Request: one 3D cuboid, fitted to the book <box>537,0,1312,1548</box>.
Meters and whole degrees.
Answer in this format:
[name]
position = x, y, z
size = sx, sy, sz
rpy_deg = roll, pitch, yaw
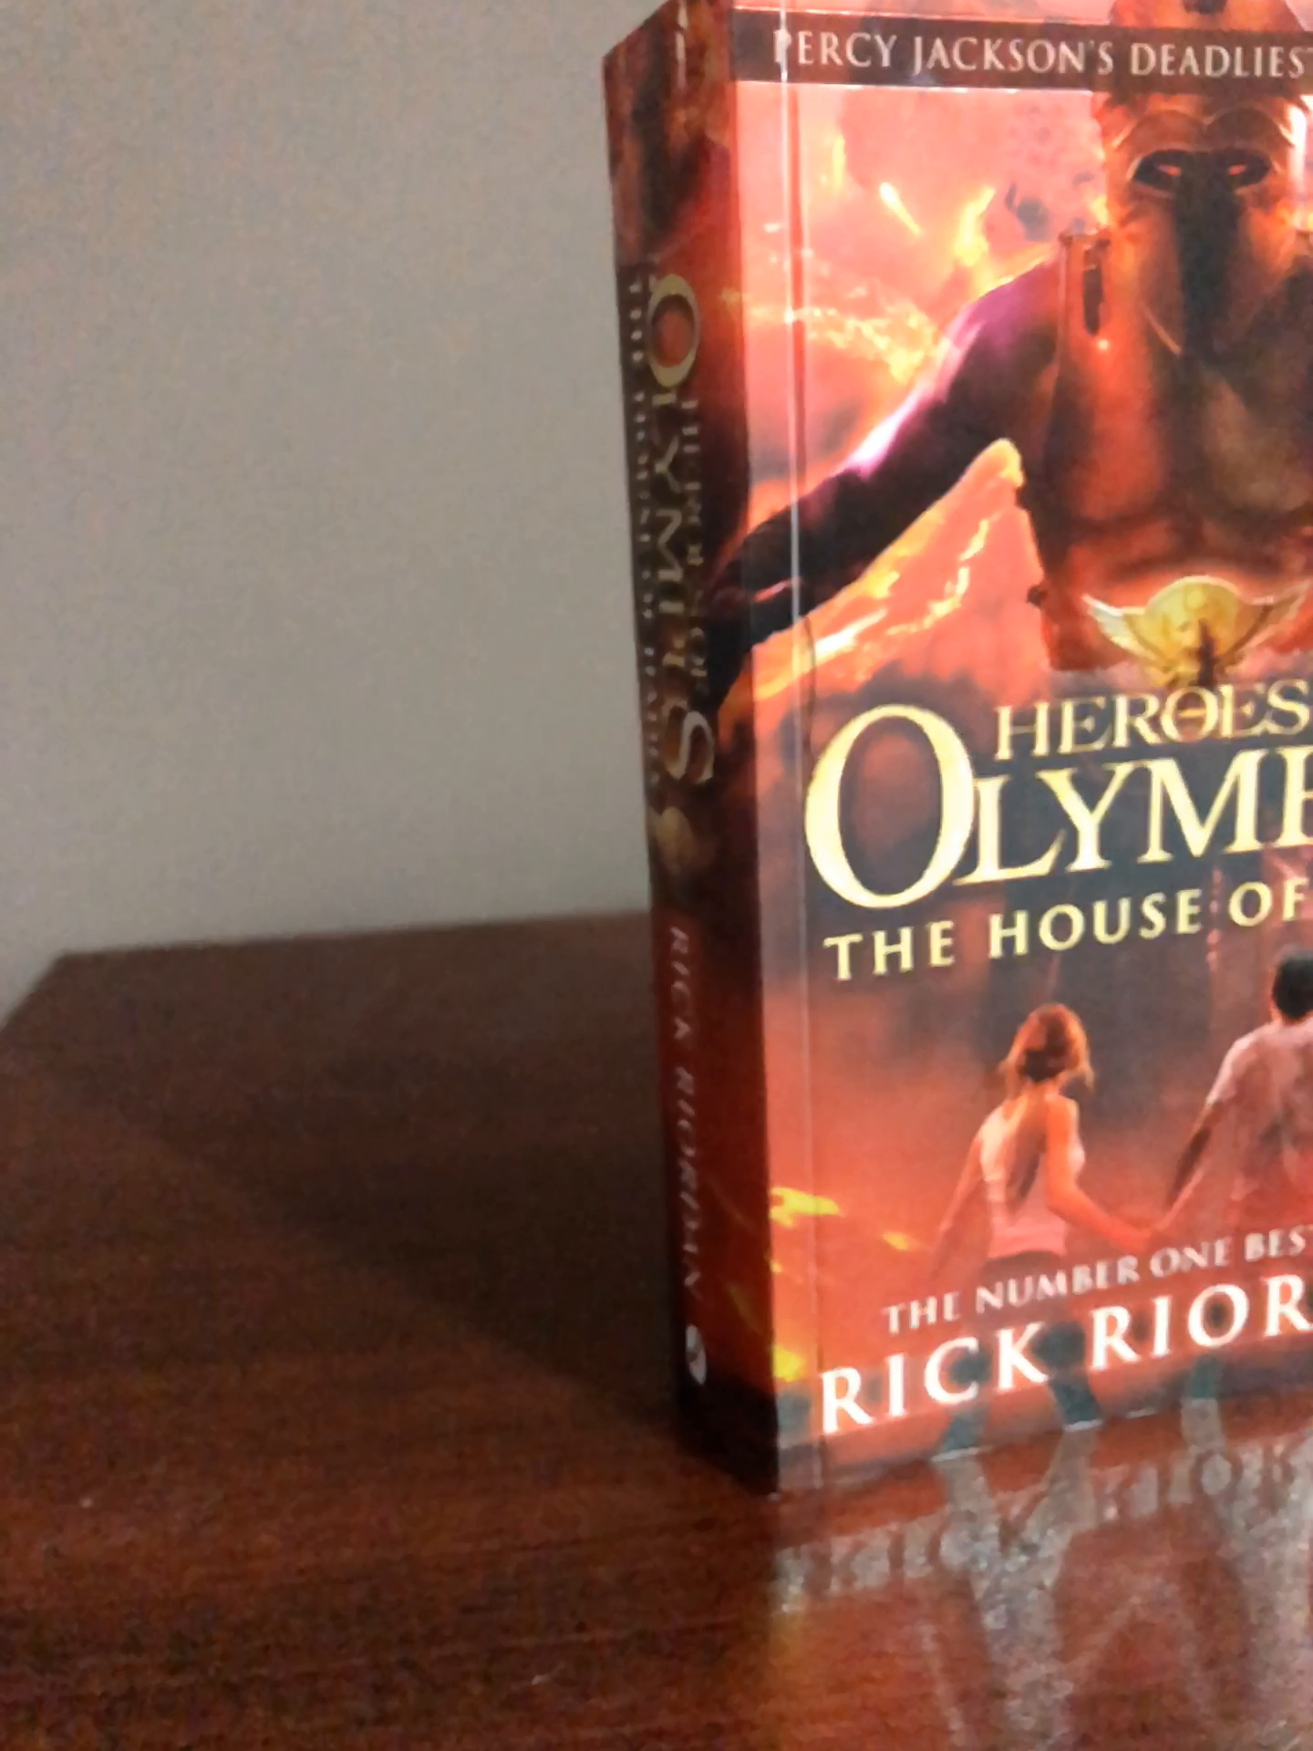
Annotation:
[book]
position = 0.062, -0.019, 0.225
size = 0.140, 0.199, 0.060
rpy_deg = -6, 15, -15
